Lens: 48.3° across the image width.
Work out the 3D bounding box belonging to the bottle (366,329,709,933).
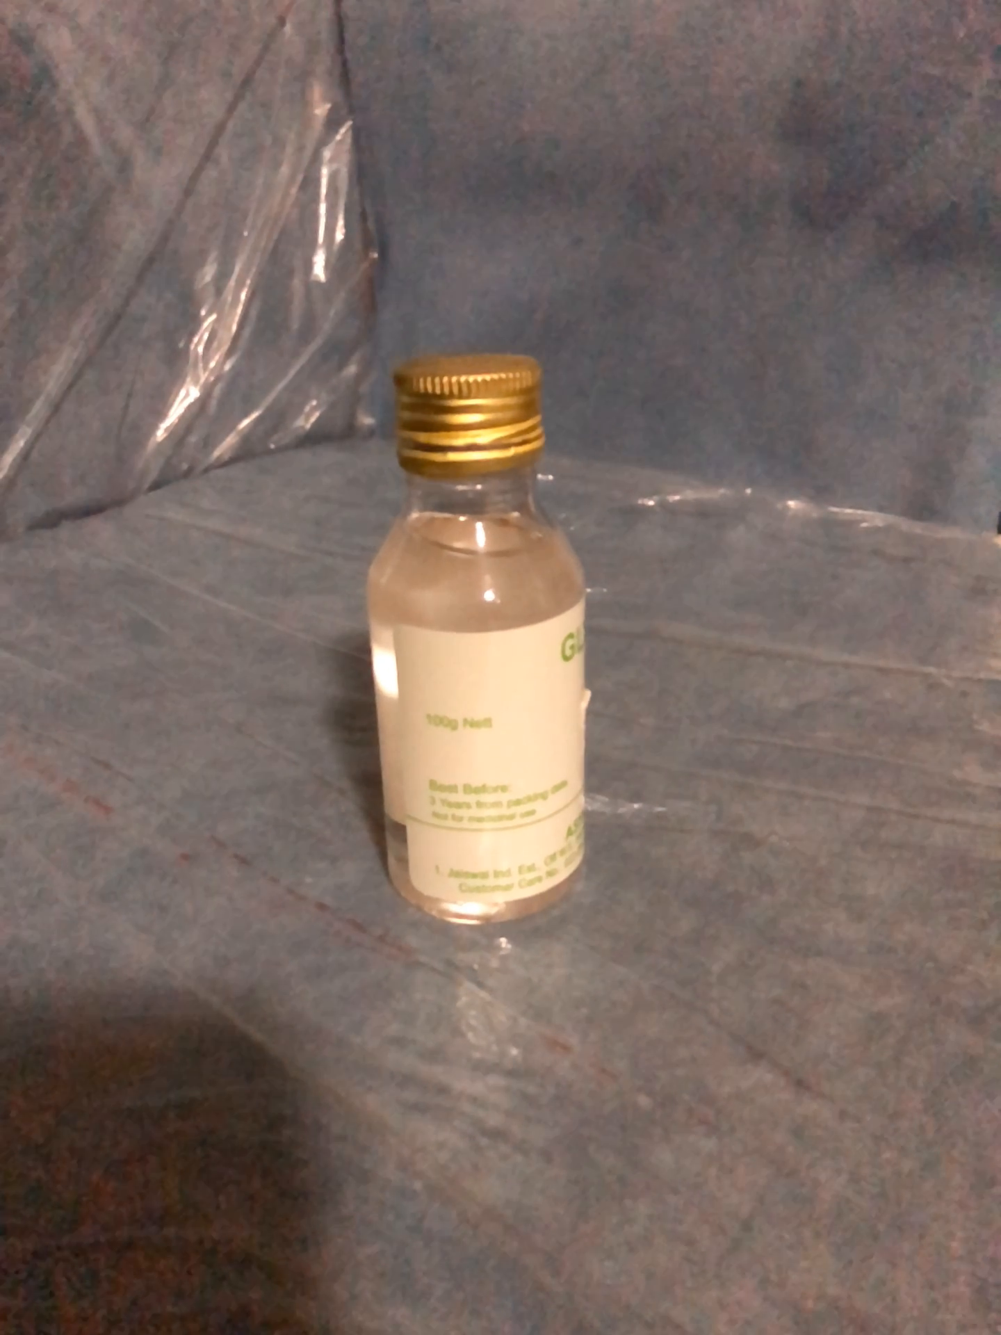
[{"bbox_3d":[0.005,-0.007,0.207,0.050,0.100,0.050,0,26,0],"label":"bottle"}]
